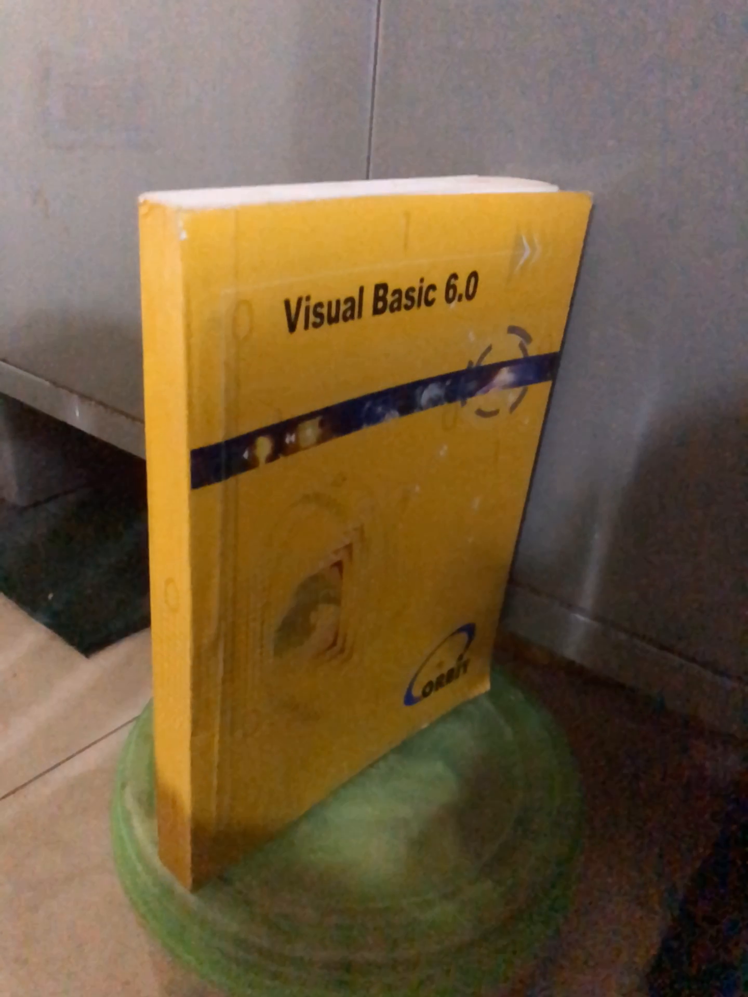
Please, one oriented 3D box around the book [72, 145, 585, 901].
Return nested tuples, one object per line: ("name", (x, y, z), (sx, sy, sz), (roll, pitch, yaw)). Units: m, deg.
("book", (-0.007, 0.000, 0.362), (0.040, 0.279, 0.221), (26, 34, 35))
